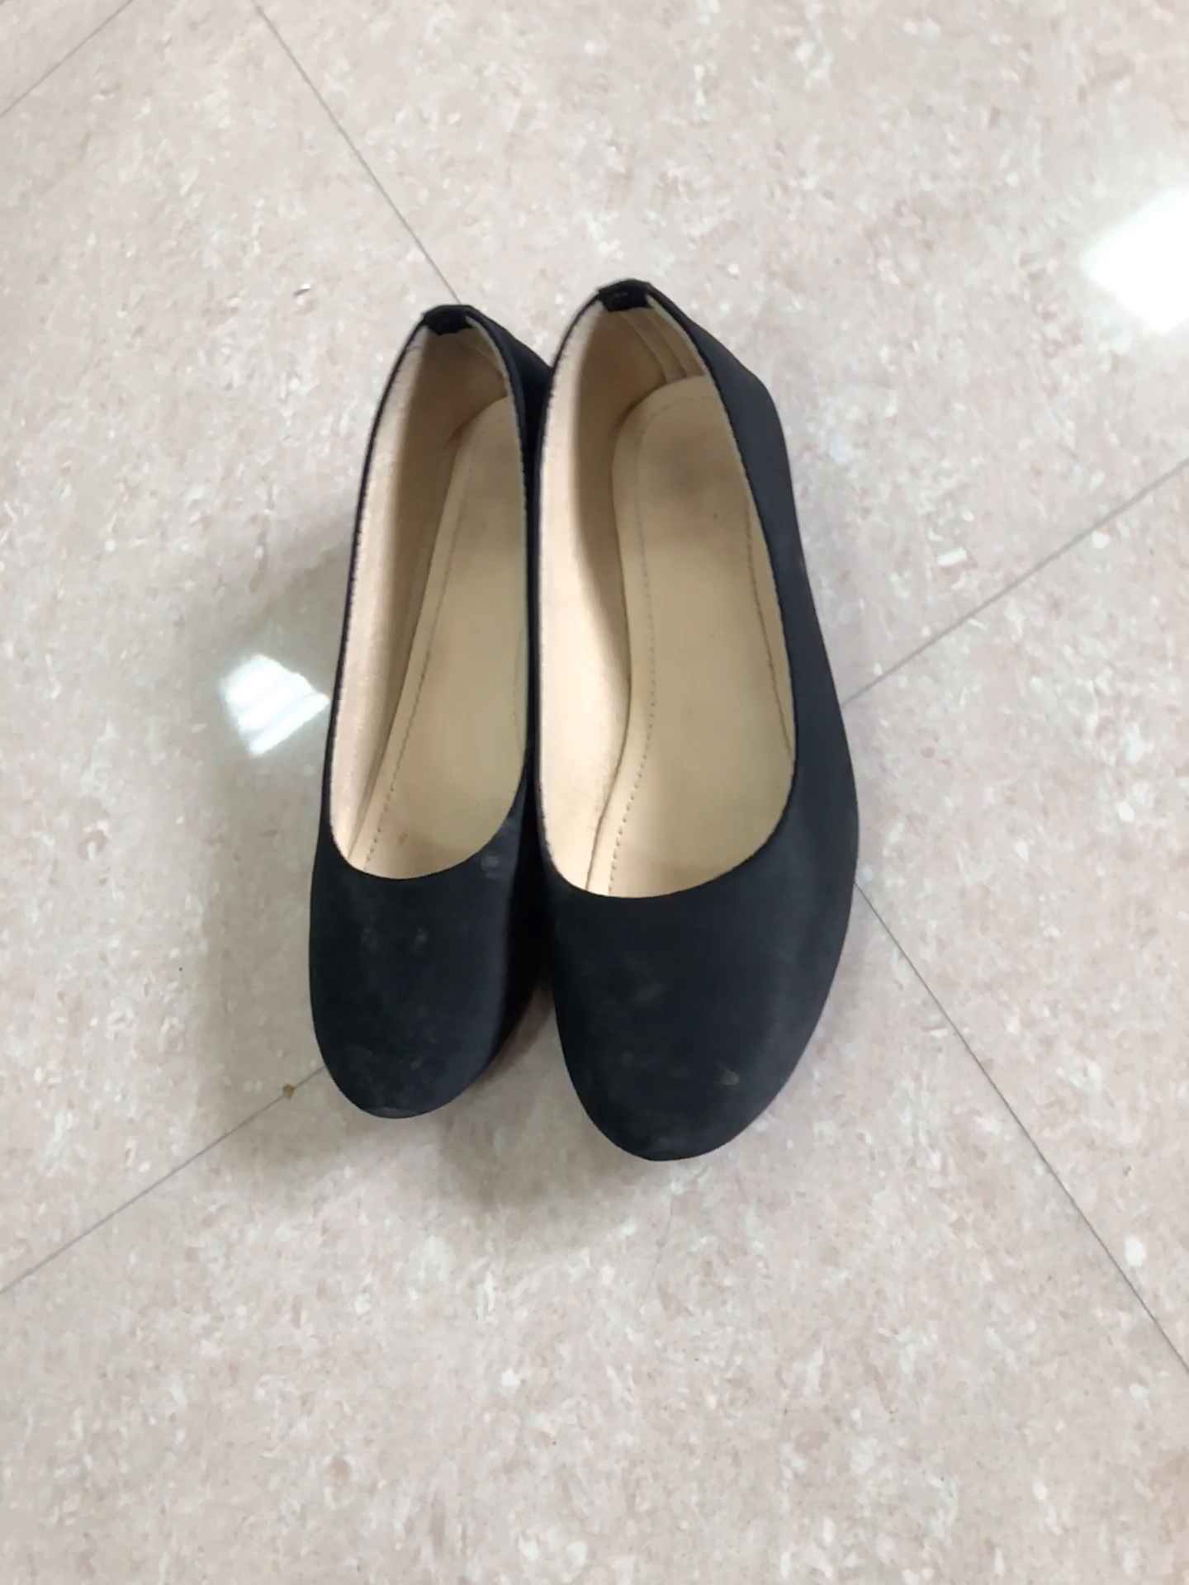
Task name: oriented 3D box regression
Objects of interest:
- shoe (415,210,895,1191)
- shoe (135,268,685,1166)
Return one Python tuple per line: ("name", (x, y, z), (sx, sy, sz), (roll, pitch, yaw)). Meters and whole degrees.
("shoe", (0.023, -0.022, 0.354), (0.093, 0.075, 0.239), (-6, 68, 24))
("shoe", (-0.044, -0.022, 0.389), (0.093, 0.075, 0.239), (0, 71, 26))
